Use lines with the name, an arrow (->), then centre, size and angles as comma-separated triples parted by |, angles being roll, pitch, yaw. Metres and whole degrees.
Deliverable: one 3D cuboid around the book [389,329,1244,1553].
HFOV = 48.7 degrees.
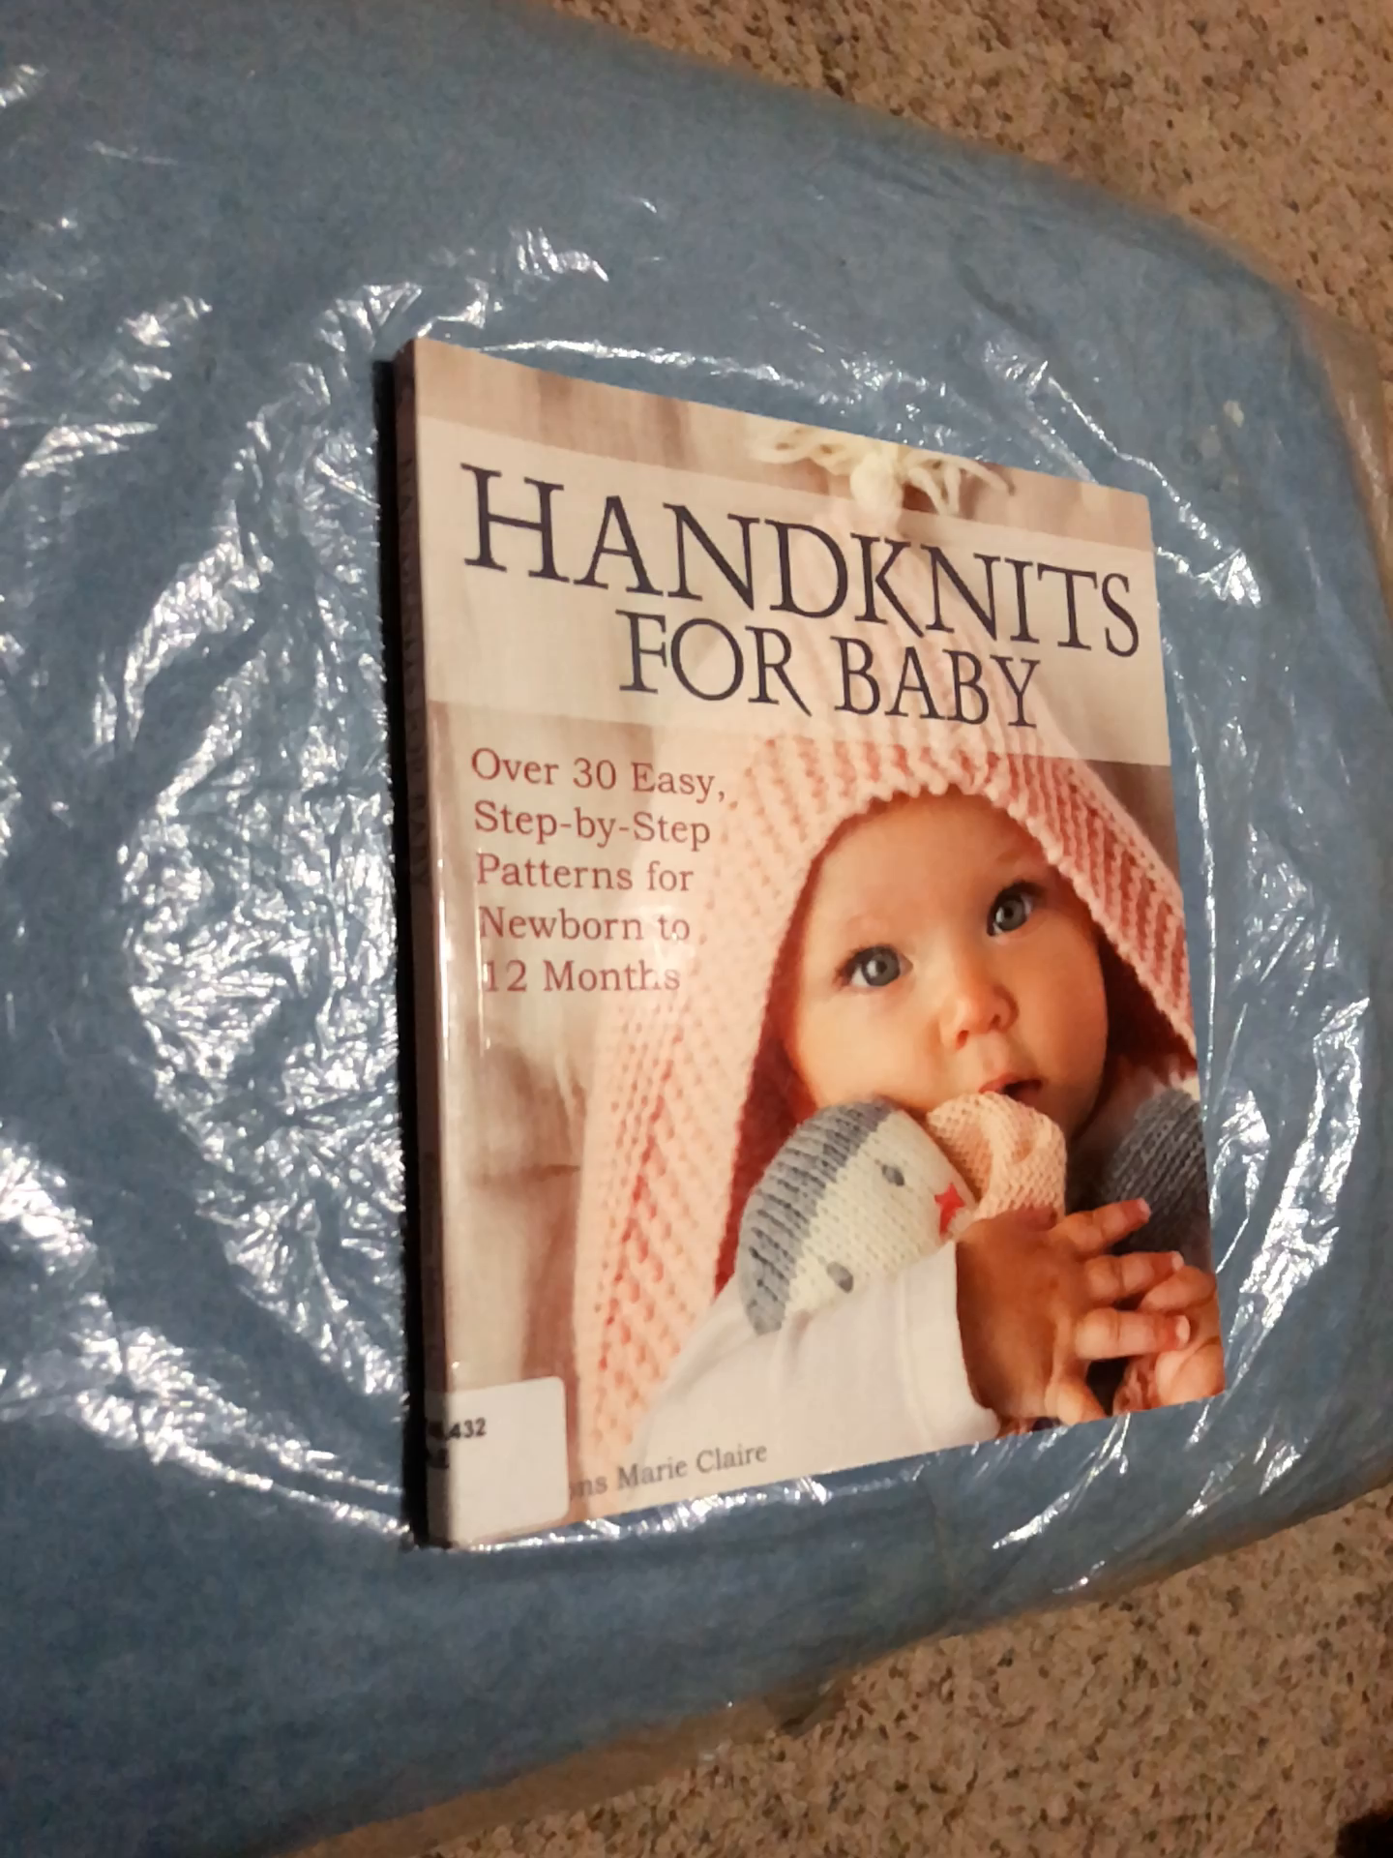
book -> 0.035, 0.000, 0.333 | 0.197, 0.020, 0.220 | 1, 84, -30
